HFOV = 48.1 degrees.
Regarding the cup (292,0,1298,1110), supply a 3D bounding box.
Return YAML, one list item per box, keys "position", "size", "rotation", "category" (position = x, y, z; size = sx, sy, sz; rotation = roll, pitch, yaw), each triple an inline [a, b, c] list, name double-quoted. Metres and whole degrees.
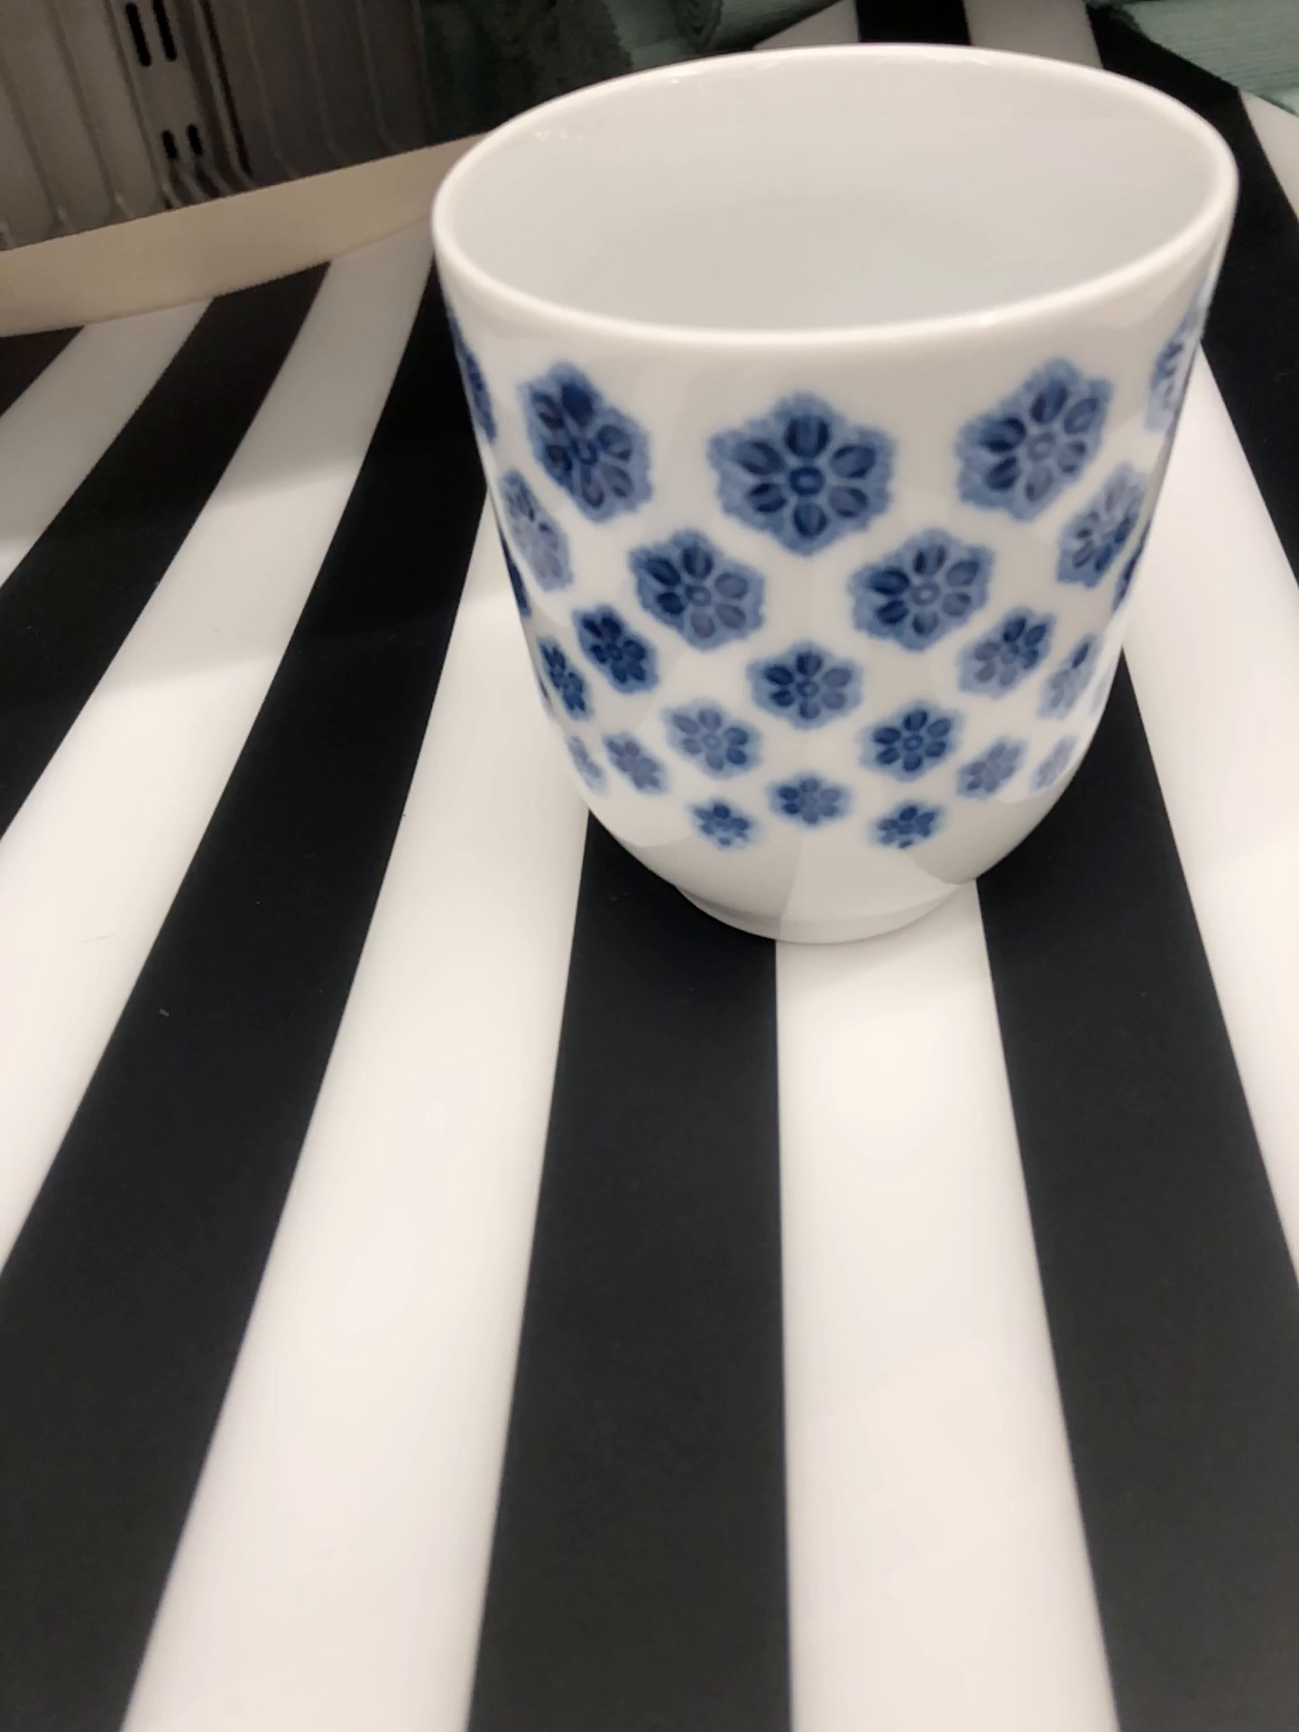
- position: [0.015, -0.040, 0.161]
  size: [0.070, 0.080, 0.080]
  rotation: [-22, 46, -16]
  category: "cup"
